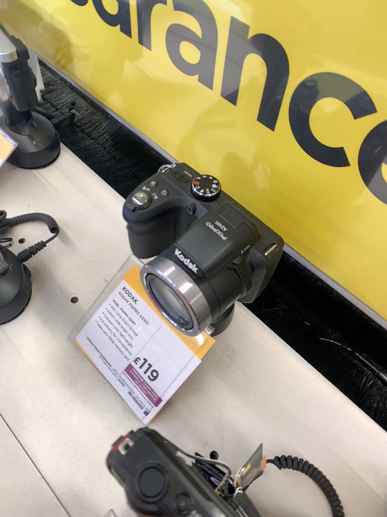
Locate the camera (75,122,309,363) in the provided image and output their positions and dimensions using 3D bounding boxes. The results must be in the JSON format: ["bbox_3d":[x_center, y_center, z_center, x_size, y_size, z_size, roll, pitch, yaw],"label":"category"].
[{"bbox_3d":[-0.005,-0.013,0.305,0.130,0.099,0.090,40,62,21],"label":"camera"}]
